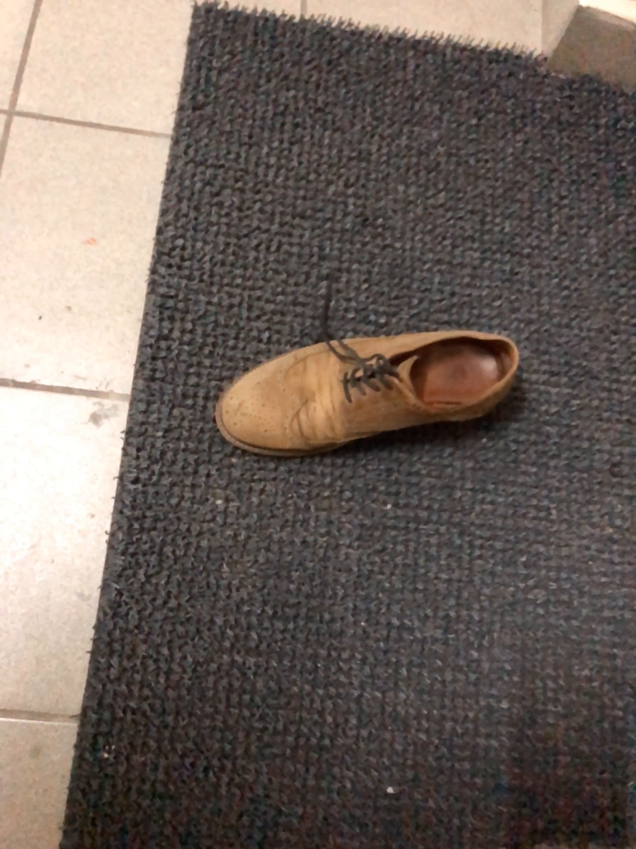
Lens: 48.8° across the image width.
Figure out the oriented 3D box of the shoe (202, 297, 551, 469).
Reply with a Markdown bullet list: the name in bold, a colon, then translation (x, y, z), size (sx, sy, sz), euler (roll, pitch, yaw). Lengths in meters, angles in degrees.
- **shoe**: translation (0.048, -0.037, 0.666), size (0.300, 0.100, 0.110), euler (-6, 77, -9)
